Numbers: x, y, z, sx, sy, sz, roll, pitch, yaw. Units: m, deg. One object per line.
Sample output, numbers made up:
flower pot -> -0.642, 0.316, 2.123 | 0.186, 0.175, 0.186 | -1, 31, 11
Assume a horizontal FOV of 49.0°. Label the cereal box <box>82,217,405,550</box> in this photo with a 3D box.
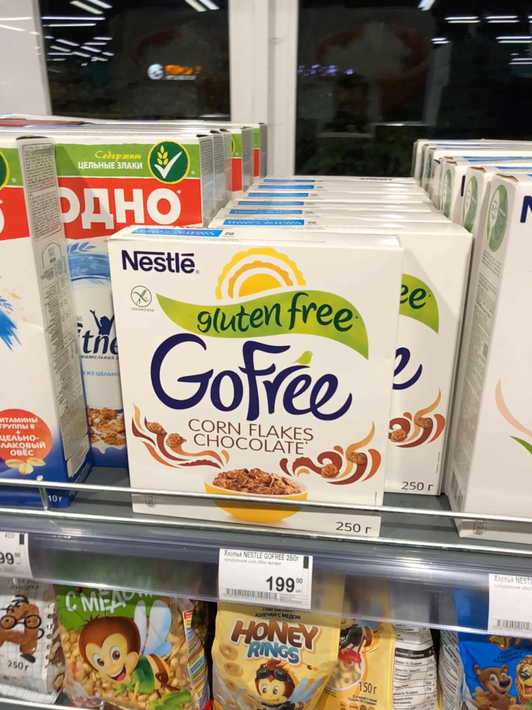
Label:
cereal box -> -0.014, 0.020, 0.421 | 0.200, 0.219, 0.060 | 4, 21, 8
